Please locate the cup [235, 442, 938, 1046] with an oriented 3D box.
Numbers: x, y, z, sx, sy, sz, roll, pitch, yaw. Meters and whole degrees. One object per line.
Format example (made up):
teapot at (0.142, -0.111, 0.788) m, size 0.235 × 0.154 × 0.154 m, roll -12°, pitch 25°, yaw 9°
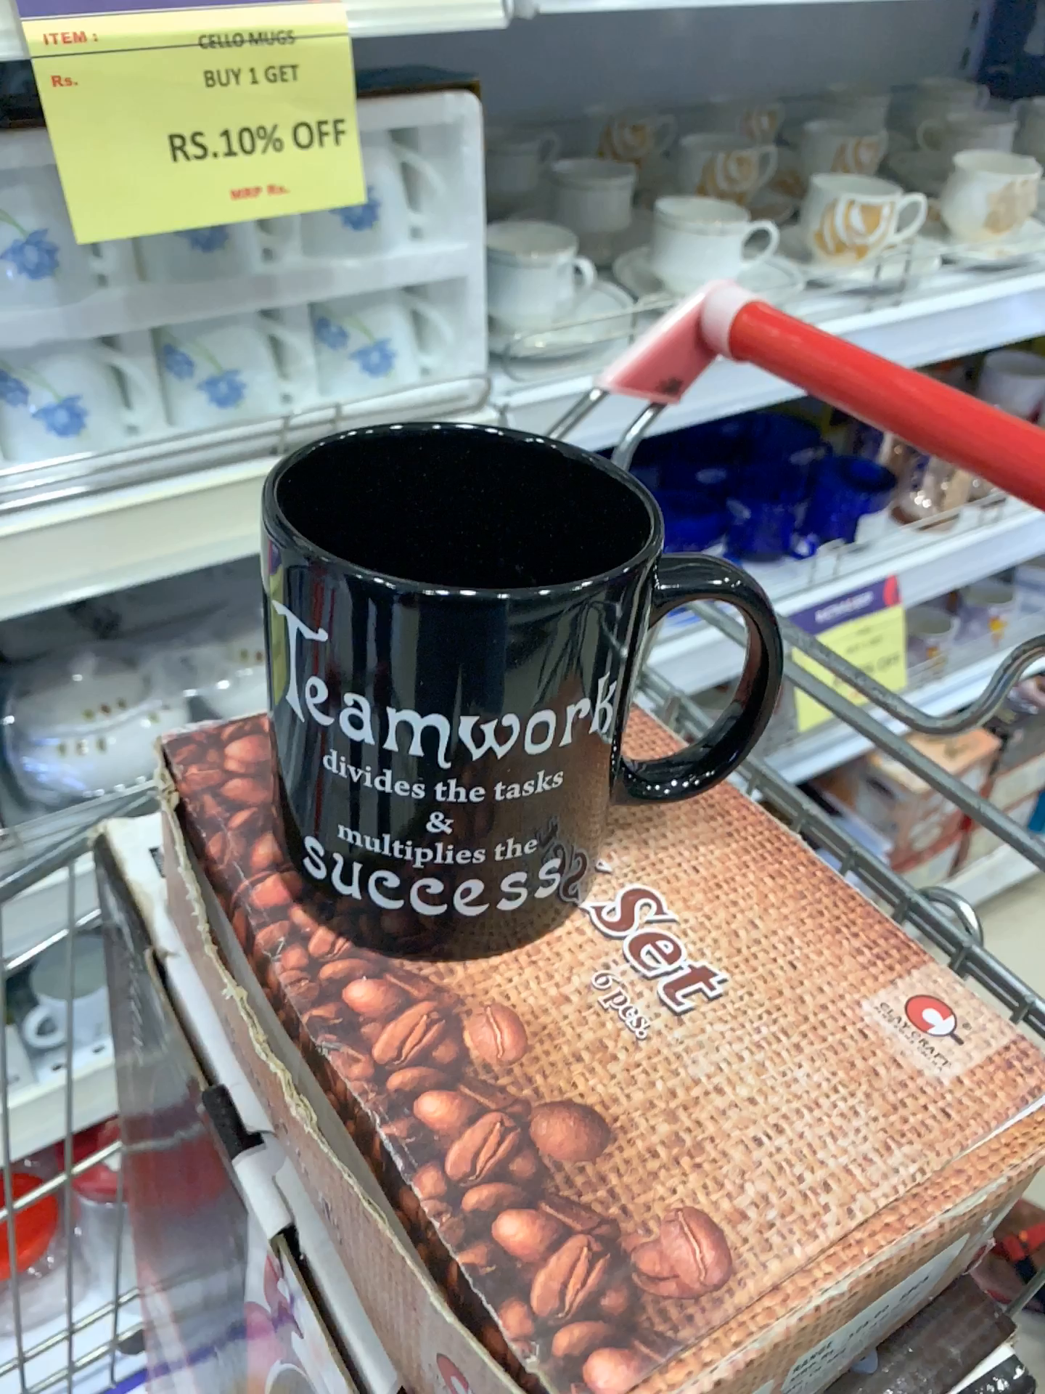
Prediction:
cup at (0.002, 0.012, 0.242) m, size 0.120 × 0.100 × 0.080 m, roll 3°, pitch 38°, yaw -10°
